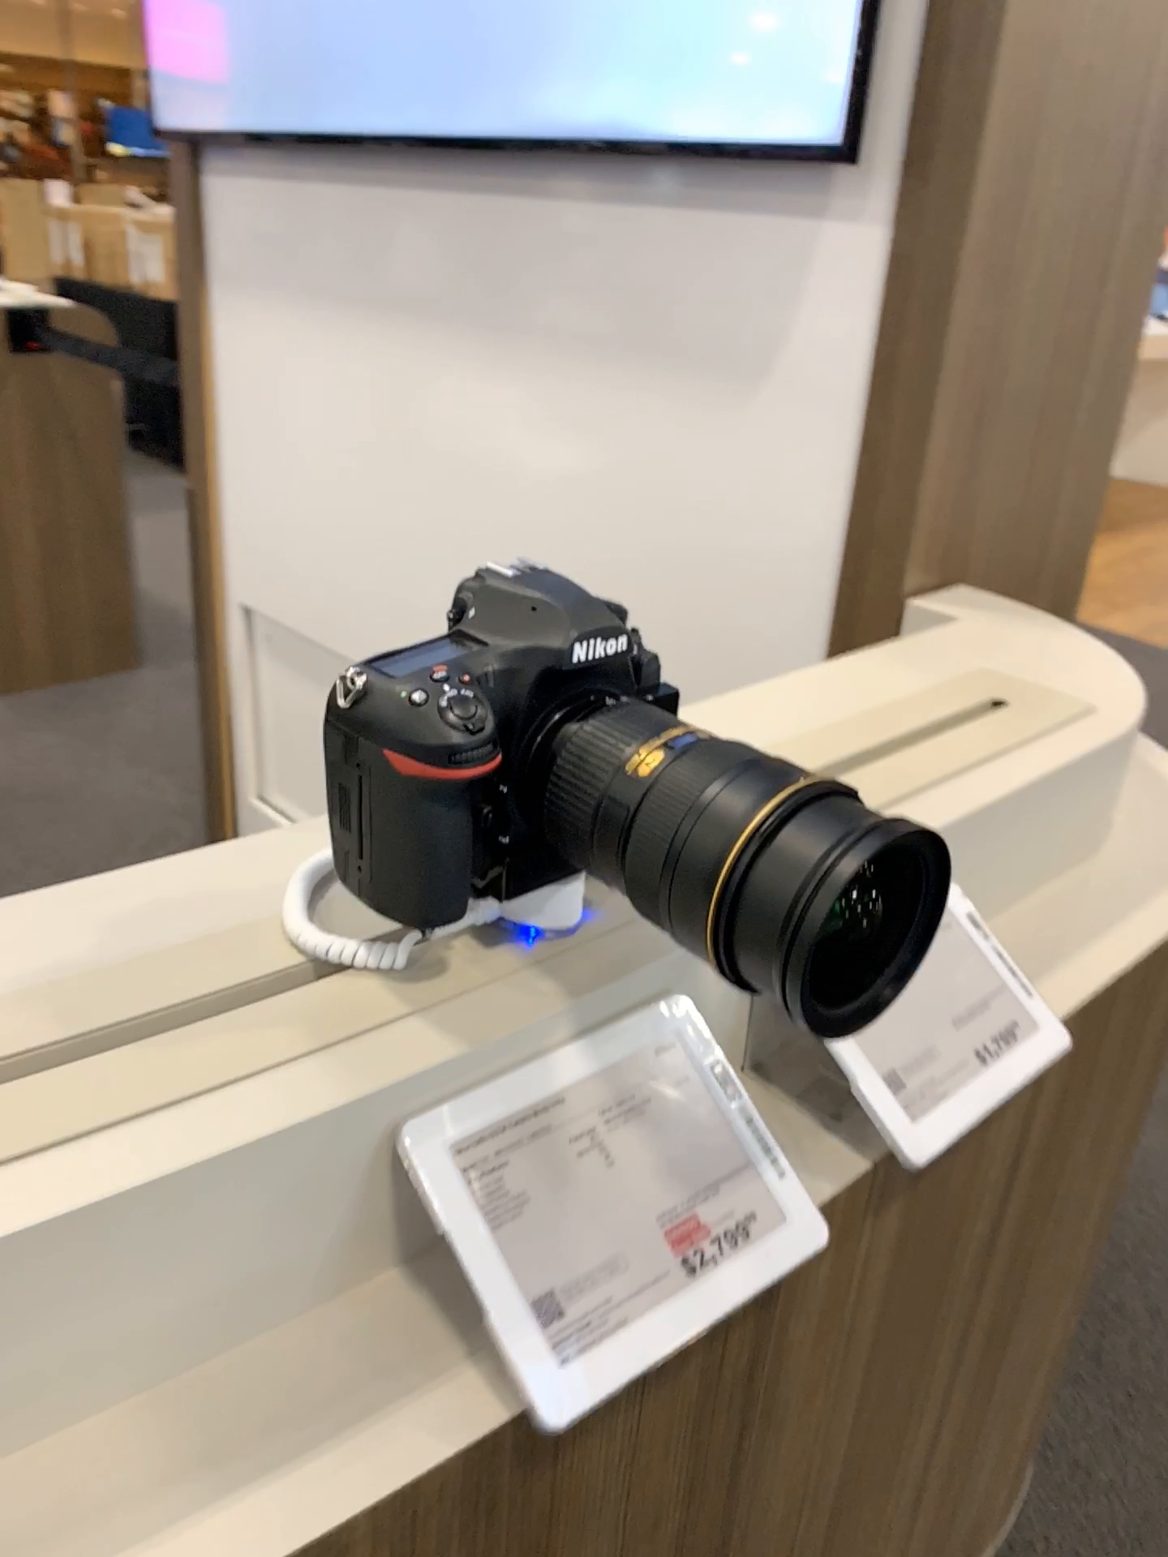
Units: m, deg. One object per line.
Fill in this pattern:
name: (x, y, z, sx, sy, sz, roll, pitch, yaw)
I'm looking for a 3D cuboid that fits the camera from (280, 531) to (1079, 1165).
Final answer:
camera: (0.021, -0.002, 0.452, 0.160, 0.109, 0.241, -18, 33, -39)
